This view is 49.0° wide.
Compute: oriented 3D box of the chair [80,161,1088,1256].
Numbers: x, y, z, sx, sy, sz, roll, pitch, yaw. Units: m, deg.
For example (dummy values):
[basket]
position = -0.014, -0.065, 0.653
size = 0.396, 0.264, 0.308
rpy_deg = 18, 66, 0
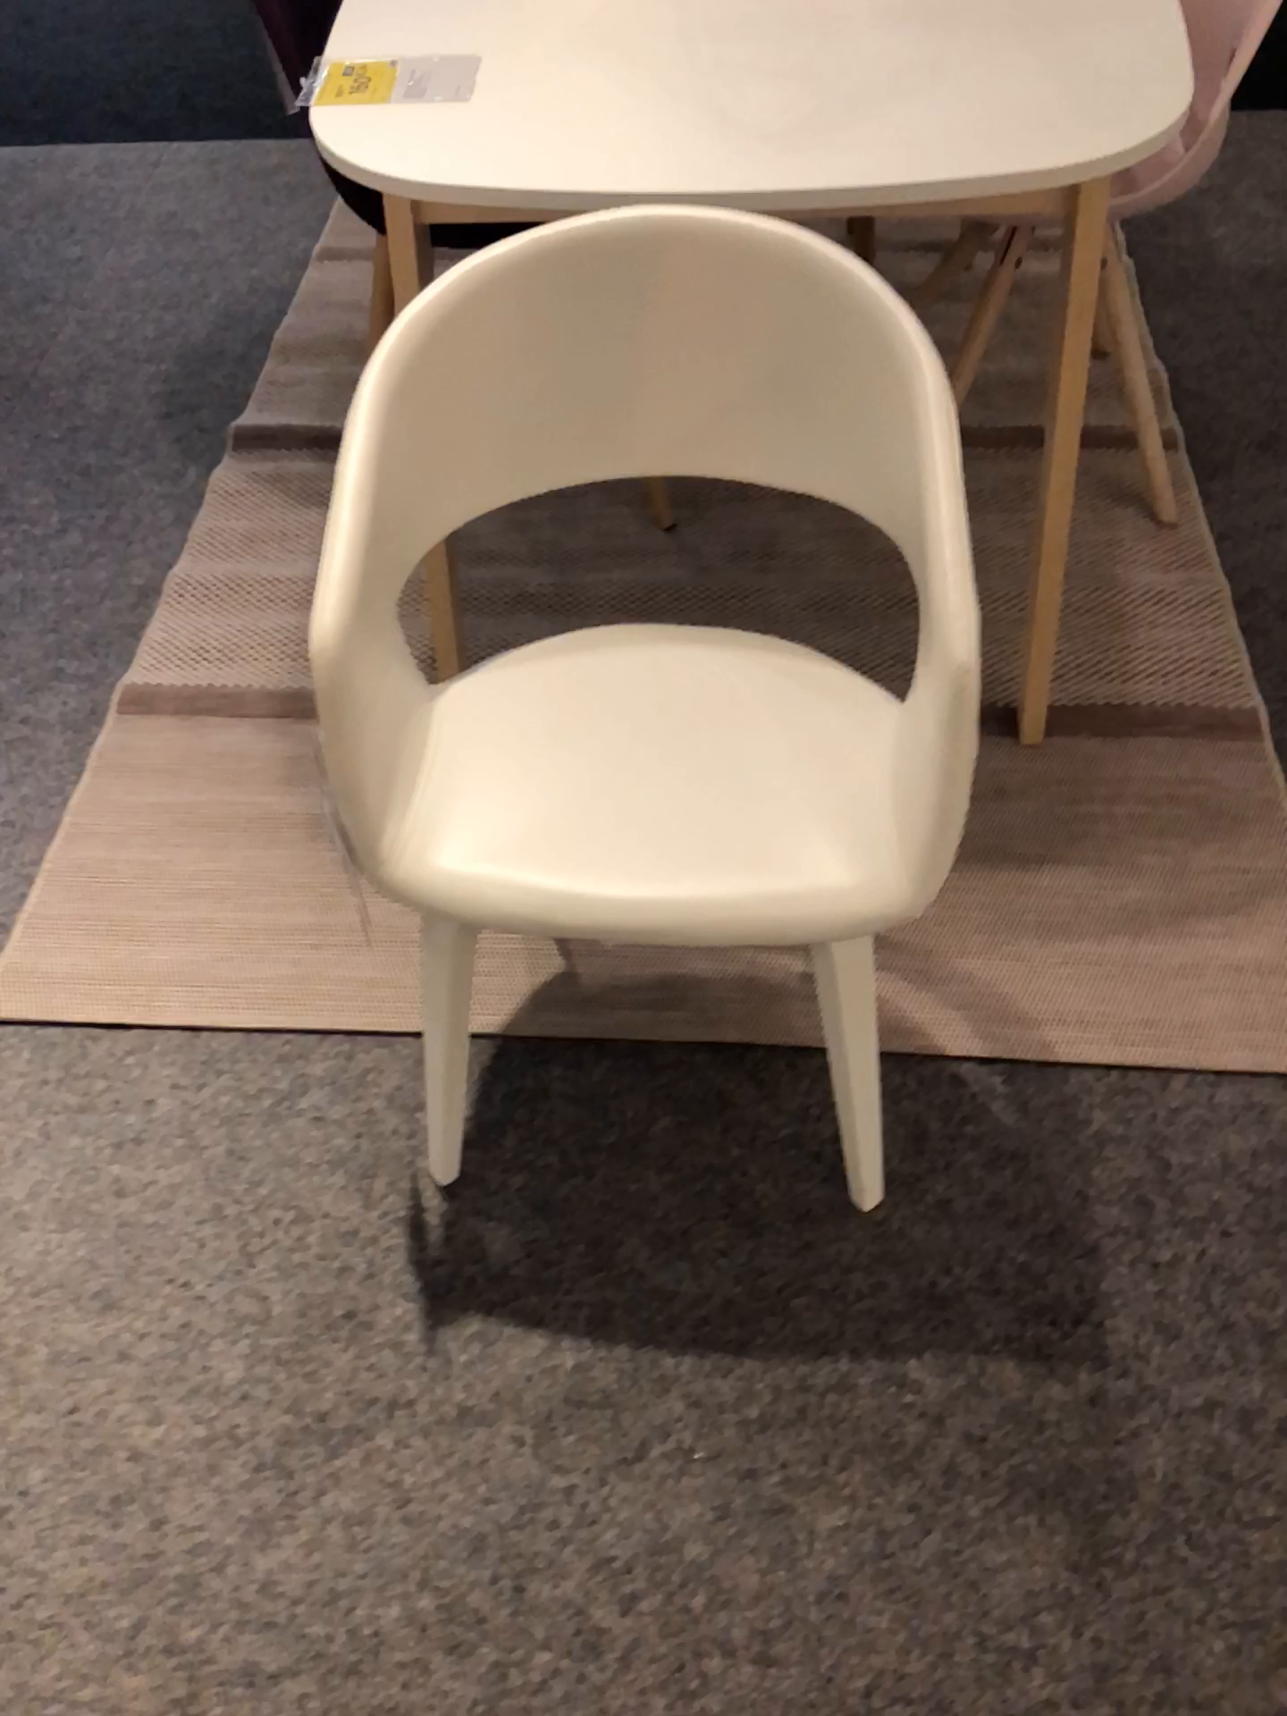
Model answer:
[chair]
position = -0.001, -0.092, 1.234
size = 0.550, 0.756, 0.563
rpy_deg = 1, 50, 5
